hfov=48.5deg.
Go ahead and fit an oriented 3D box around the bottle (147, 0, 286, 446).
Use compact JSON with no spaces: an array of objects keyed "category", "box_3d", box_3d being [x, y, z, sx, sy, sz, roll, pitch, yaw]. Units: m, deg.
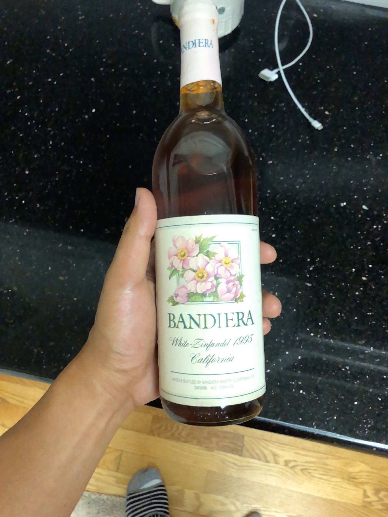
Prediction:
[{"category":"bottle","box_3d":[0.013,-0.036,0.301,0.080,0.070,0.300,-1,88,-1]}]
